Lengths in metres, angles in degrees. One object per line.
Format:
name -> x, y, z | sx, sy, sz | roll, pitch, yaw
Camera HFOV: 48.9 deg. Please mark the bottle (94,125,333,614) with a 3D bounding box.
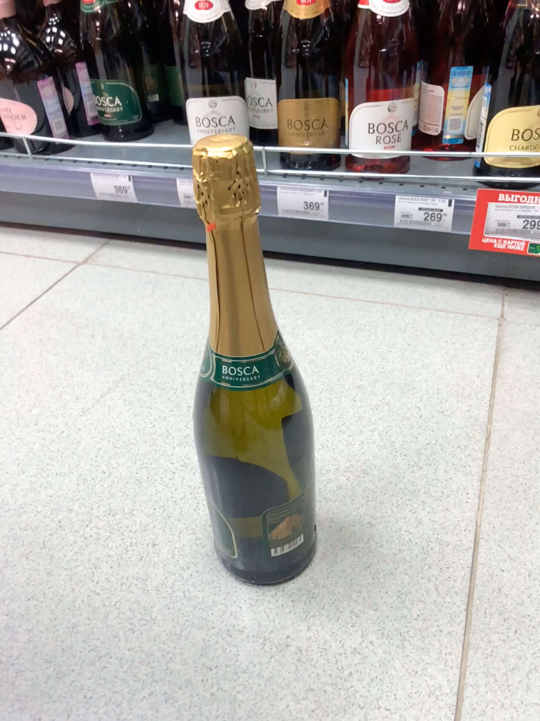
bottle -> -0.013, 0.025, 0.383 | 0.090, 0.314, 0.090 | -3, 36, 2
